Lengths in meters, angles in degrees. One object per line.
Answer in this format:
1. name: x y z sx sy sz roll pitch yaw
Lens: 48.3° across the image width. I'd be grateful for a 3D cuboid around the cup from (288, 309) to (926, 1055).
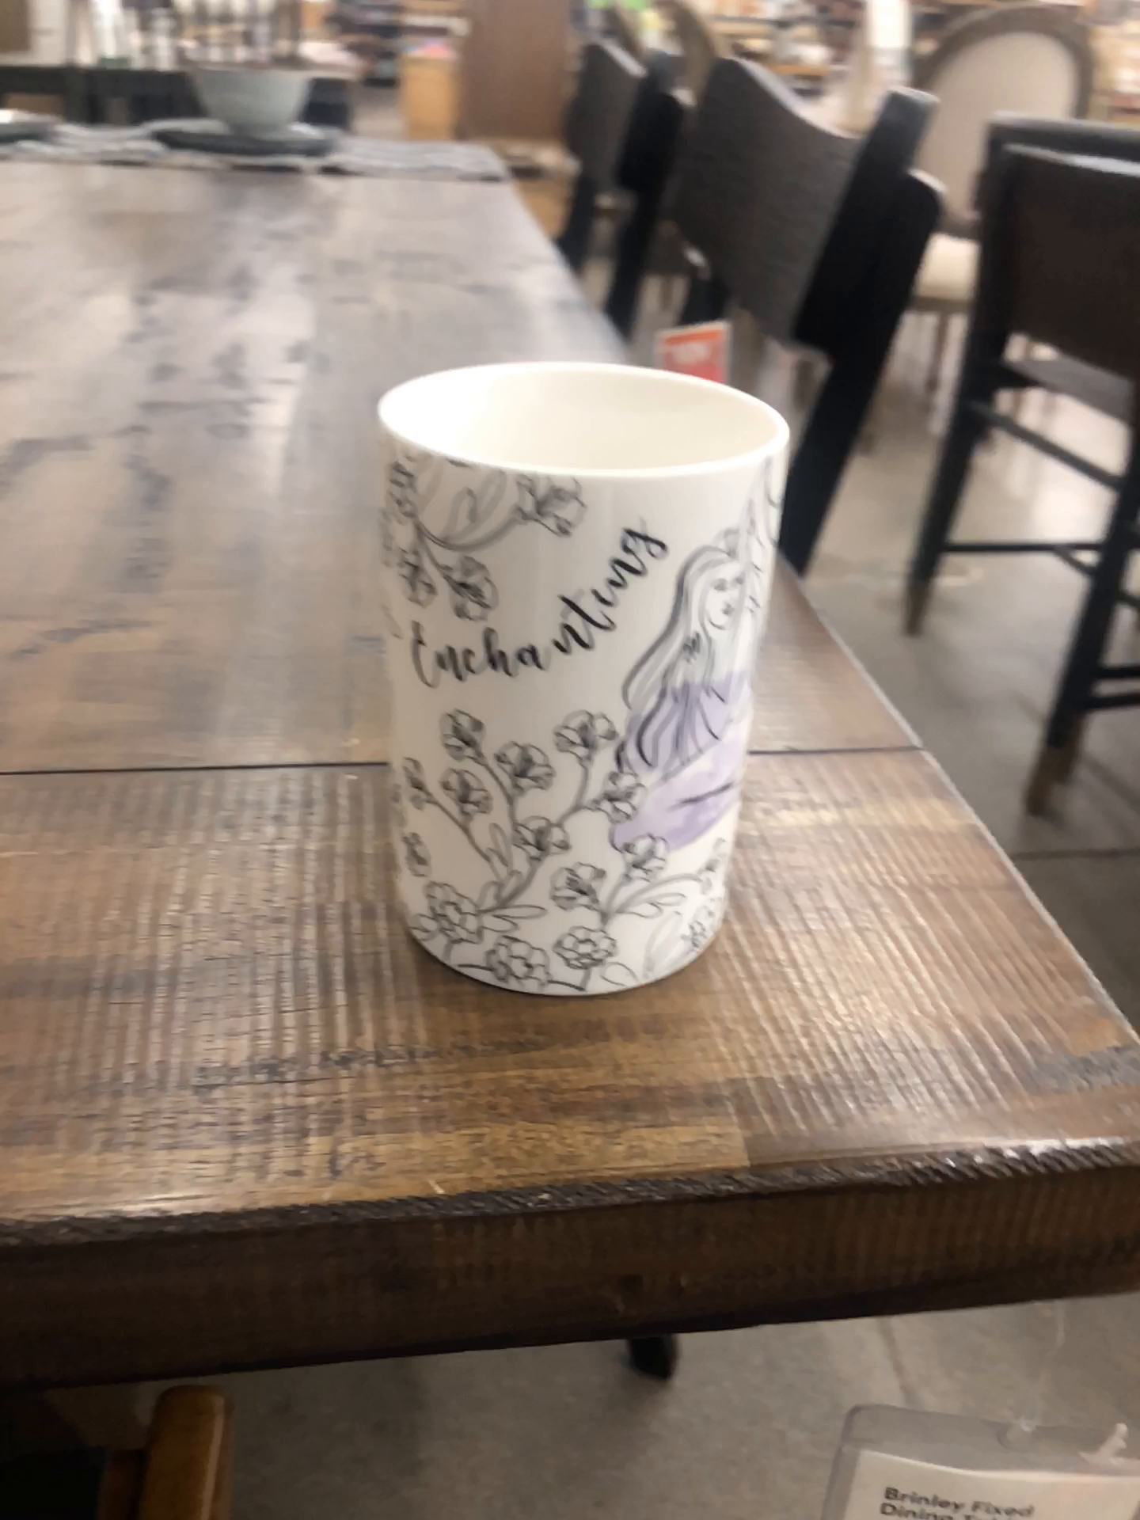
1. cup: 0.013 -0.028 0.282 0.082 0.111 0.122 17 32 23
